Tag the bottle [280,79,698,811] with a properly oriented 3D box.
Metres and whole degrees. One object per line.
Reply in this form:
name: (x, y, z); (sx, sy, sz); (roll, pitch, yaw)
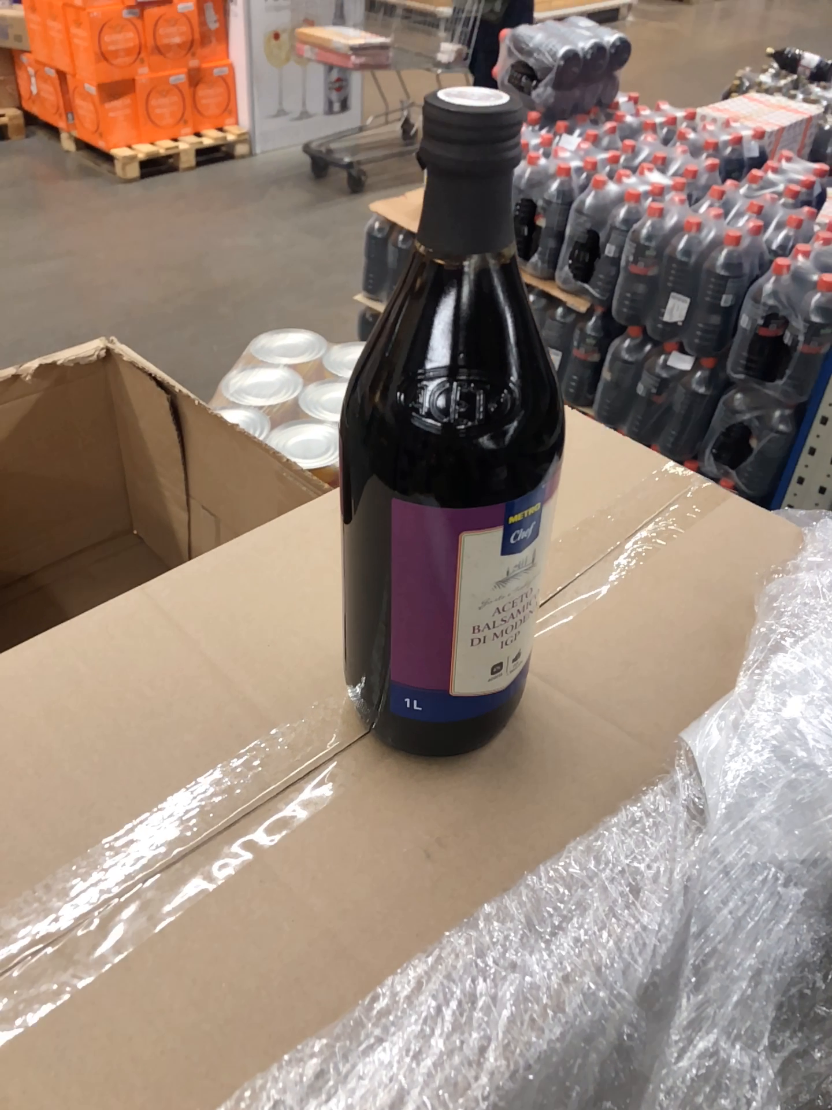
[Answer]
bottle: (0.015, -0.030, 0.359); (0.090, 0.257, 0.090); (3, 40, -2)
